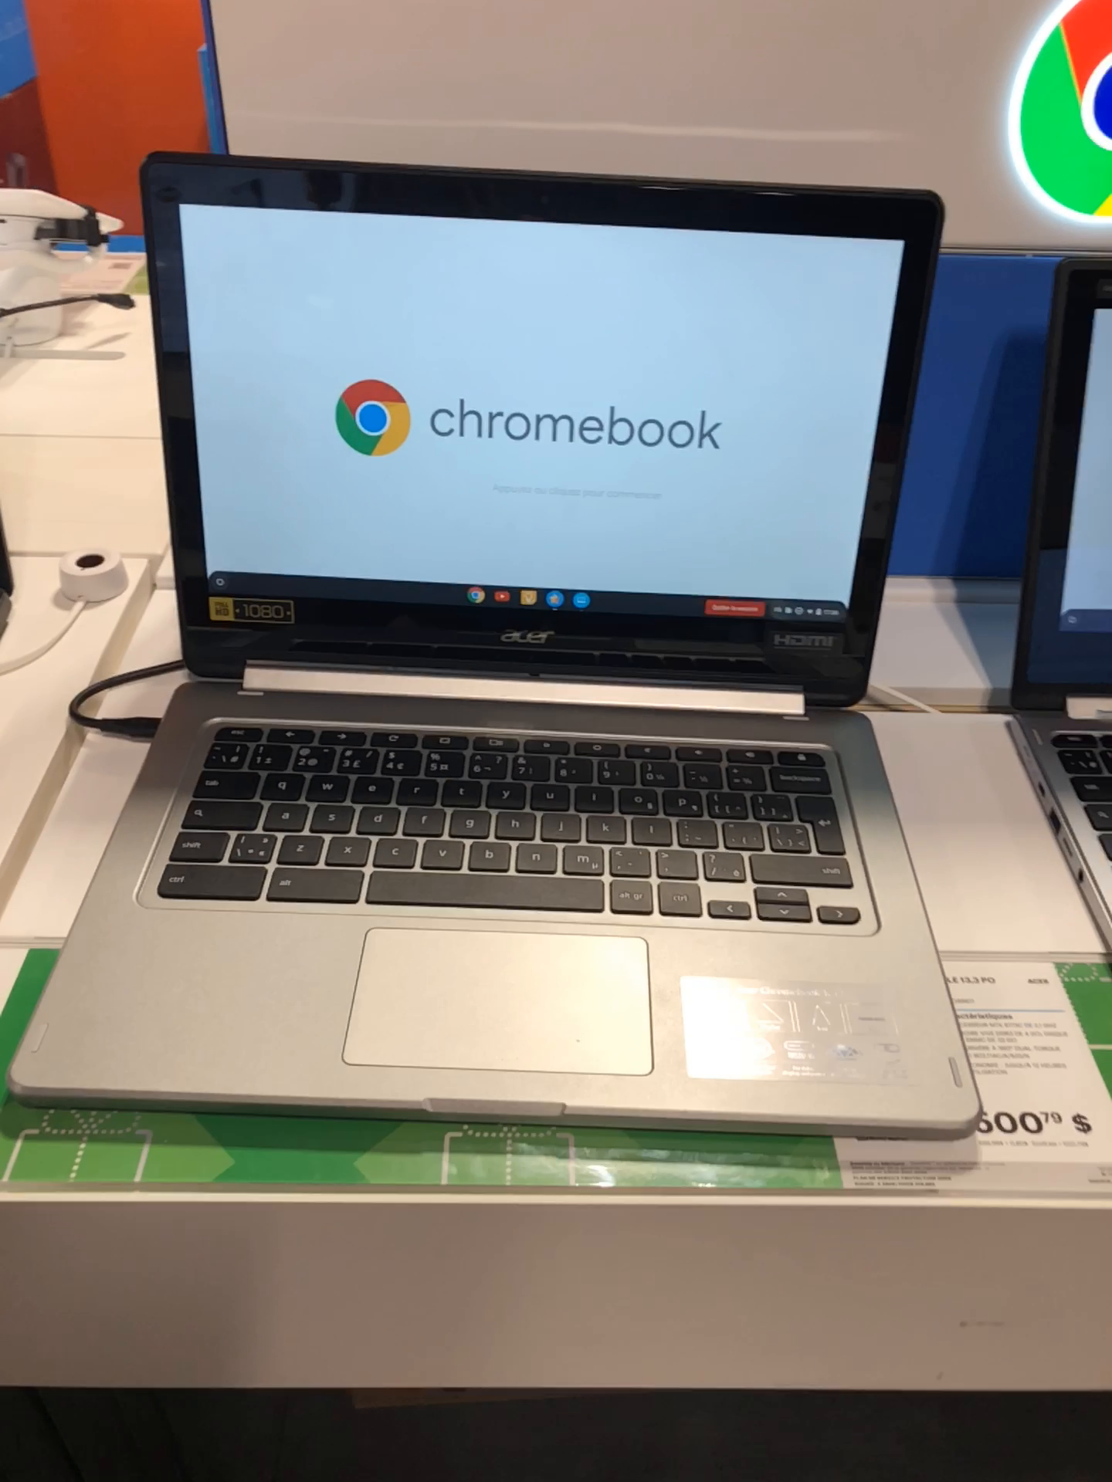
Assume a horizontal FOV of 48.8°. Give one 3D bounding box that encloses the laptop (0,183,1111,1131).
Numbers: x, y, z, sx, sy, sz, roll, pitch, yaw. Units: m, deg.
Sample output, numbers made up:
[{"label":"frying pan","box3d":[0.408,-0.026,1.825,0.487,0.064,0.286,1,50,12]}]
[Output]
[{"label":"laptop","box3d":[-0.016,-0.040,0.427,0.317,0.226,0.240,2,37,0]}]
